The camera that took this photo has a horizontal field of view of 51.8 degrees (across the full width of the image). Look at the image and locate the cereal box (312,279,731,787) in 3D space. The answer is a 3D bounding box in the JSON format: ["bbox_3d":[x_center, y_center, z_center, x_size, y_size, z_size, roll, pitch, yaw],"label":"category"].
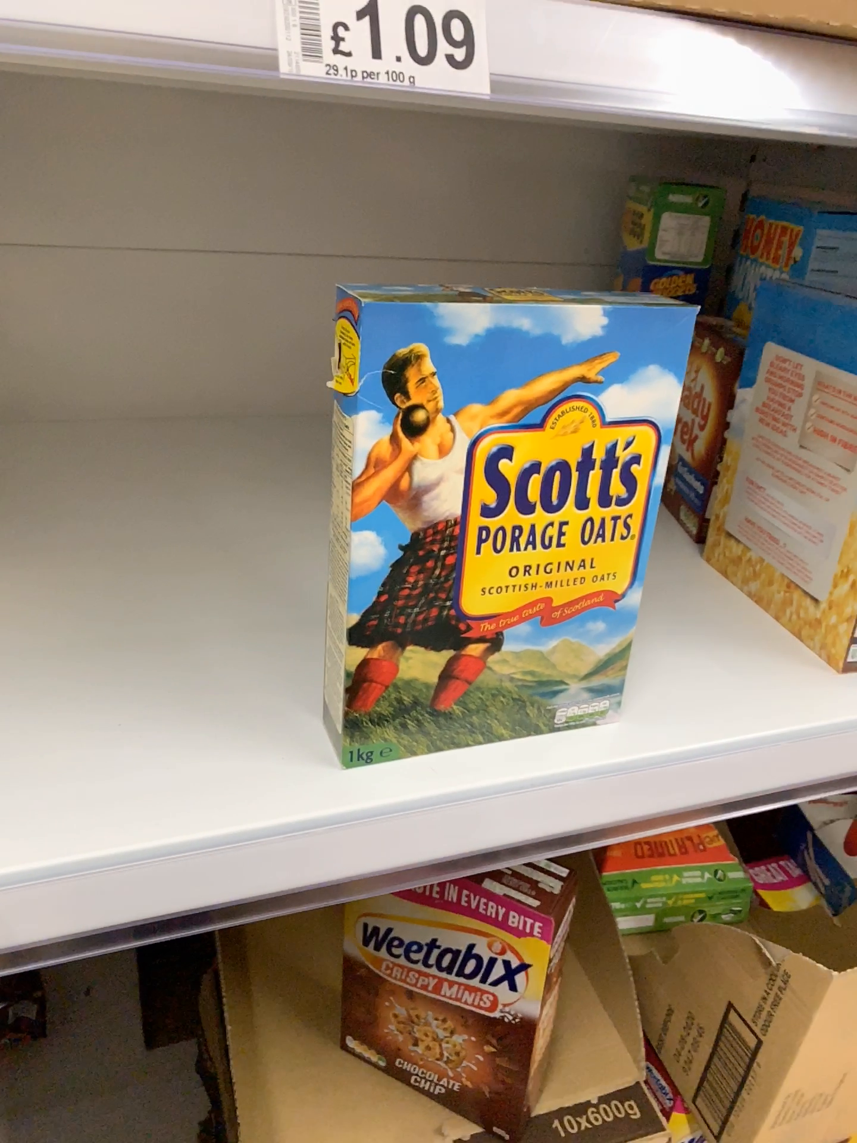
[{"bbox_3d":[0.043,-0.022,0.513,0.200,0.268,0.071,-6,28,-21],"label":"cereal box"}]
